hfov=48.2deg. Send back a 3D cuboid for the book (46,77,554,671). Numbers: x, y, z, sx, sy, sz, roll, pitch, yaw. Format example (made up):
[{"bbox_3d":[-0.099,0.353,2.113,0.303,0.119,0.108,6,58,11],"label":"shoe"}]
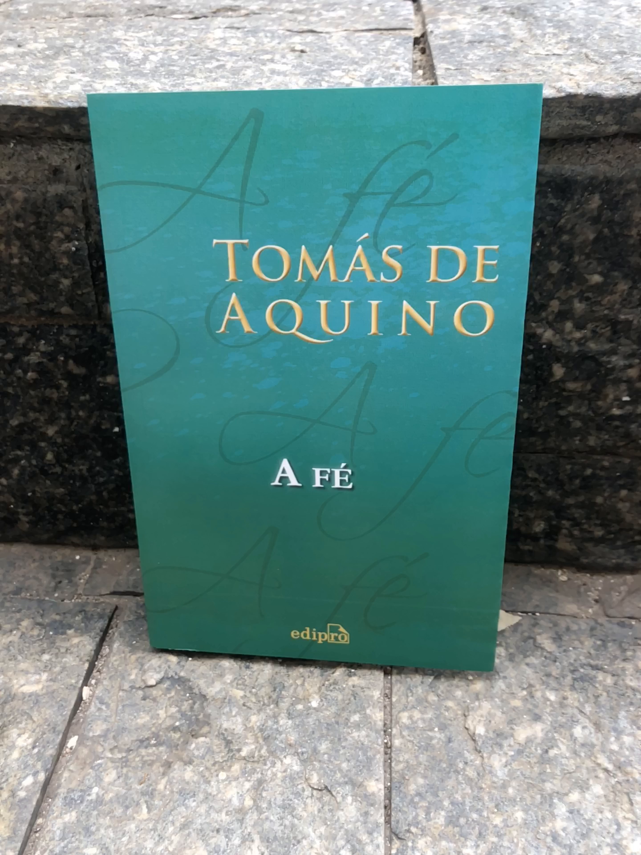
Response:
[{"bbox_3d":[-0.007,-0.009,0.245,0.142,0.199,0.020,2,22,5],"label":"book"}]
